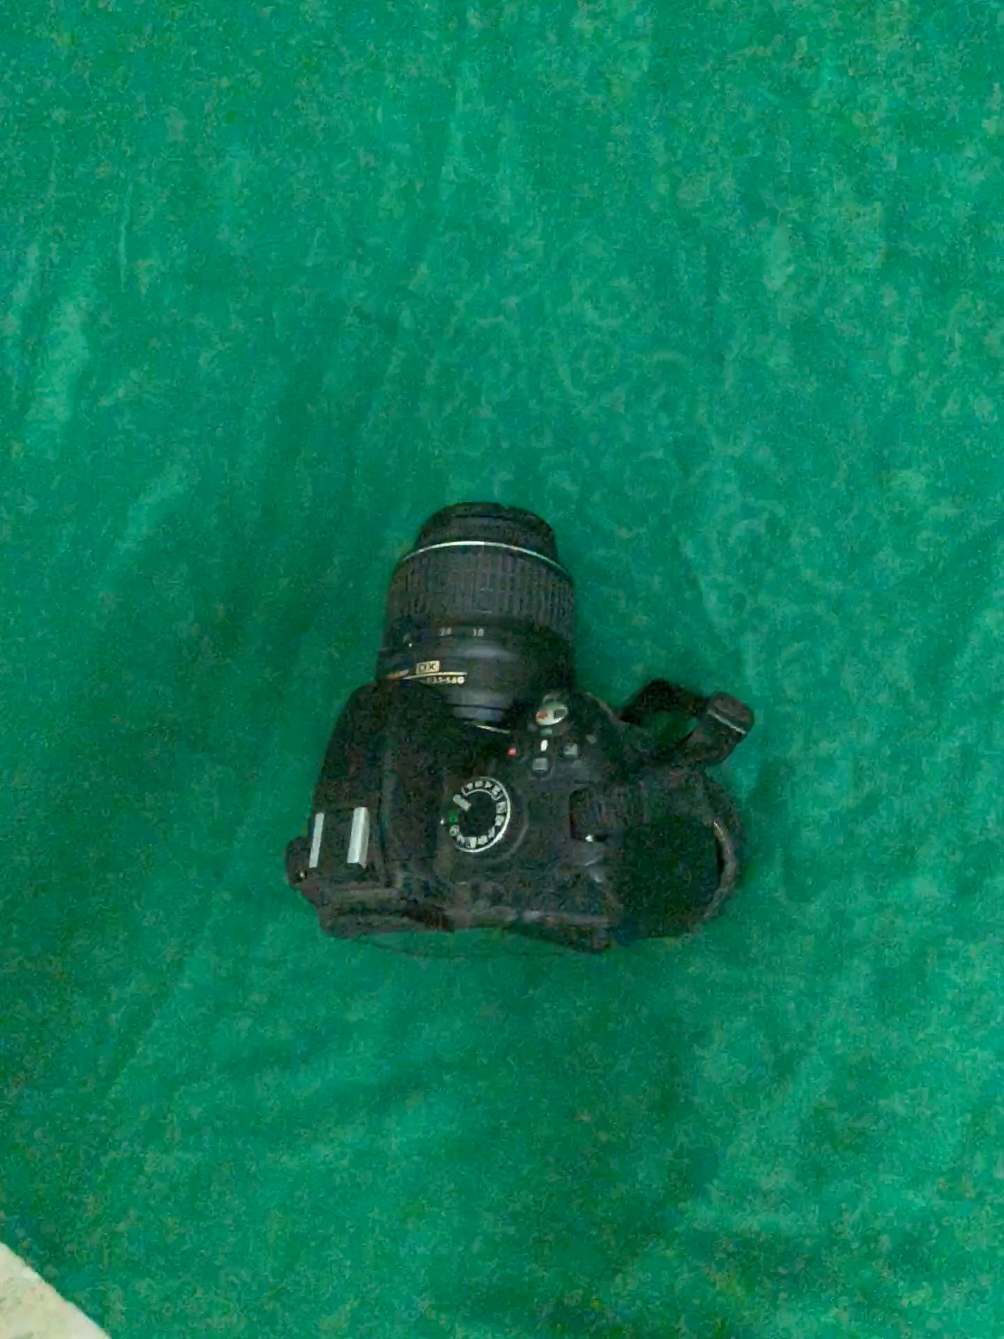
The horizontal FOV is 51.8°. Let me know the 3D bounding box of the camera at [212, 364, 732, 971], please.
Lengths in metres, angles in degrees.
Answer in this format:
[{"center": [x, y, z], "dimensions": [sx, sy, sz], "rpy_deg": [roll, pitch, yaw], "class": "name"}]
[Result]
[{"center": [-0.009, 0.013, 0.357], "dimensions": [0.134, 0.100, 0.166], "rpy_deg": [-12, 67, 31], "class": "camera"}]
